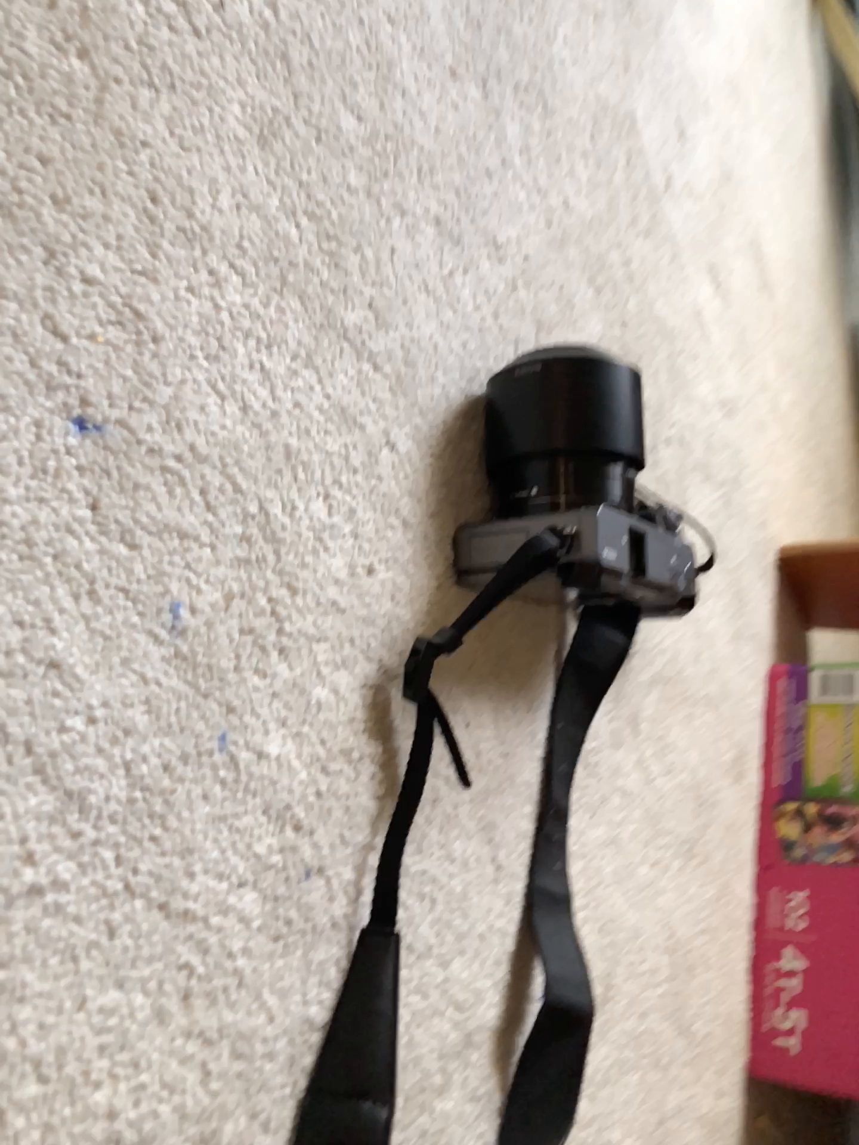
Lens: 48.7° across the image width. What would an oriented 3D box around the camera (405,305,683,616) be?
[{"bbox_3d":[0.053,-0.038,0.405,0.121,0.070,0.100,12,75,-57],"label":"camera"}]
